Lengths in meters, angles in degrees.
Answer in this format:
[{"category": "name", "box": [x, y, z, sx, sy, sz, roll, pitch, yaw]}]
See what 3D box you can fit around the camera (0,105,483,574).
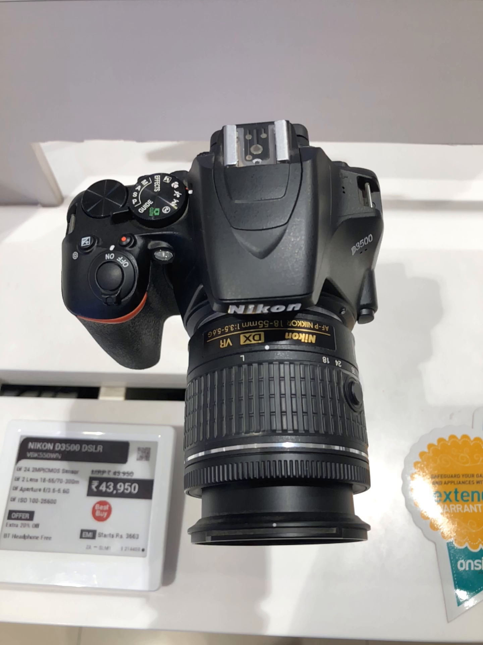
[{"category": "camera", "box": [-0.002, 0.011, 0.178, 0.120, 0.090, 0.120, -4, 62, 0]}]
